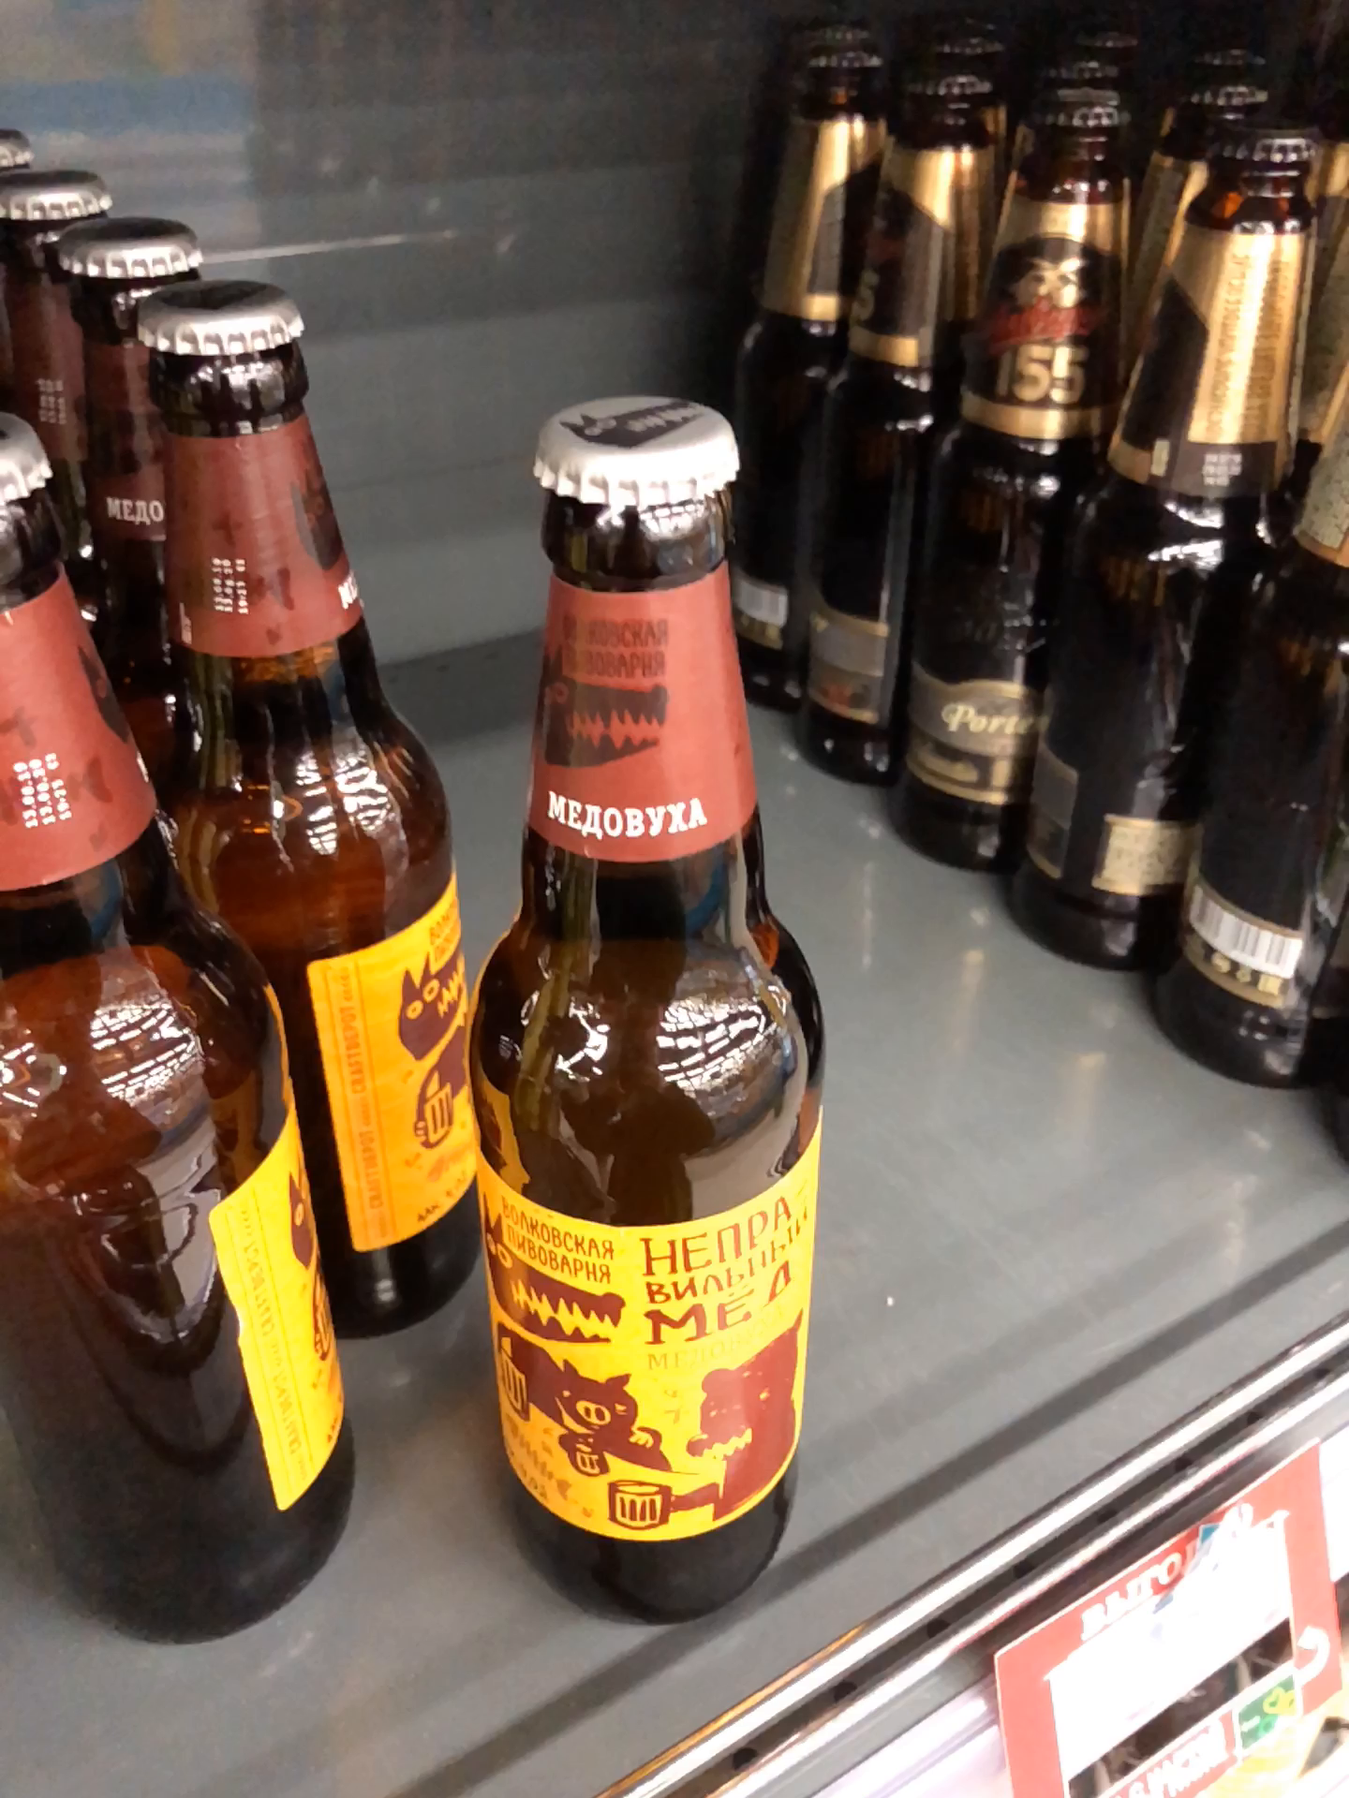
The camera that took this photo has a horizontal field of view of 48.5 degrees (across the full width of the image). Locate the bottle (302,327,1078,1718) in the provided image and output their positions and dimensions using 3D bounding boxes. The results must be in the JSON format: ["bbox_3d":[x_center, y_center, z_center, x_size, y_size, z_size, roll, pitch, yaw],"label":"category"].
[{"bbox_3d":[-0.001,0.035,0.273,0.080,0.243,0.070,-20,40,-28],"label":"bottle"}]
